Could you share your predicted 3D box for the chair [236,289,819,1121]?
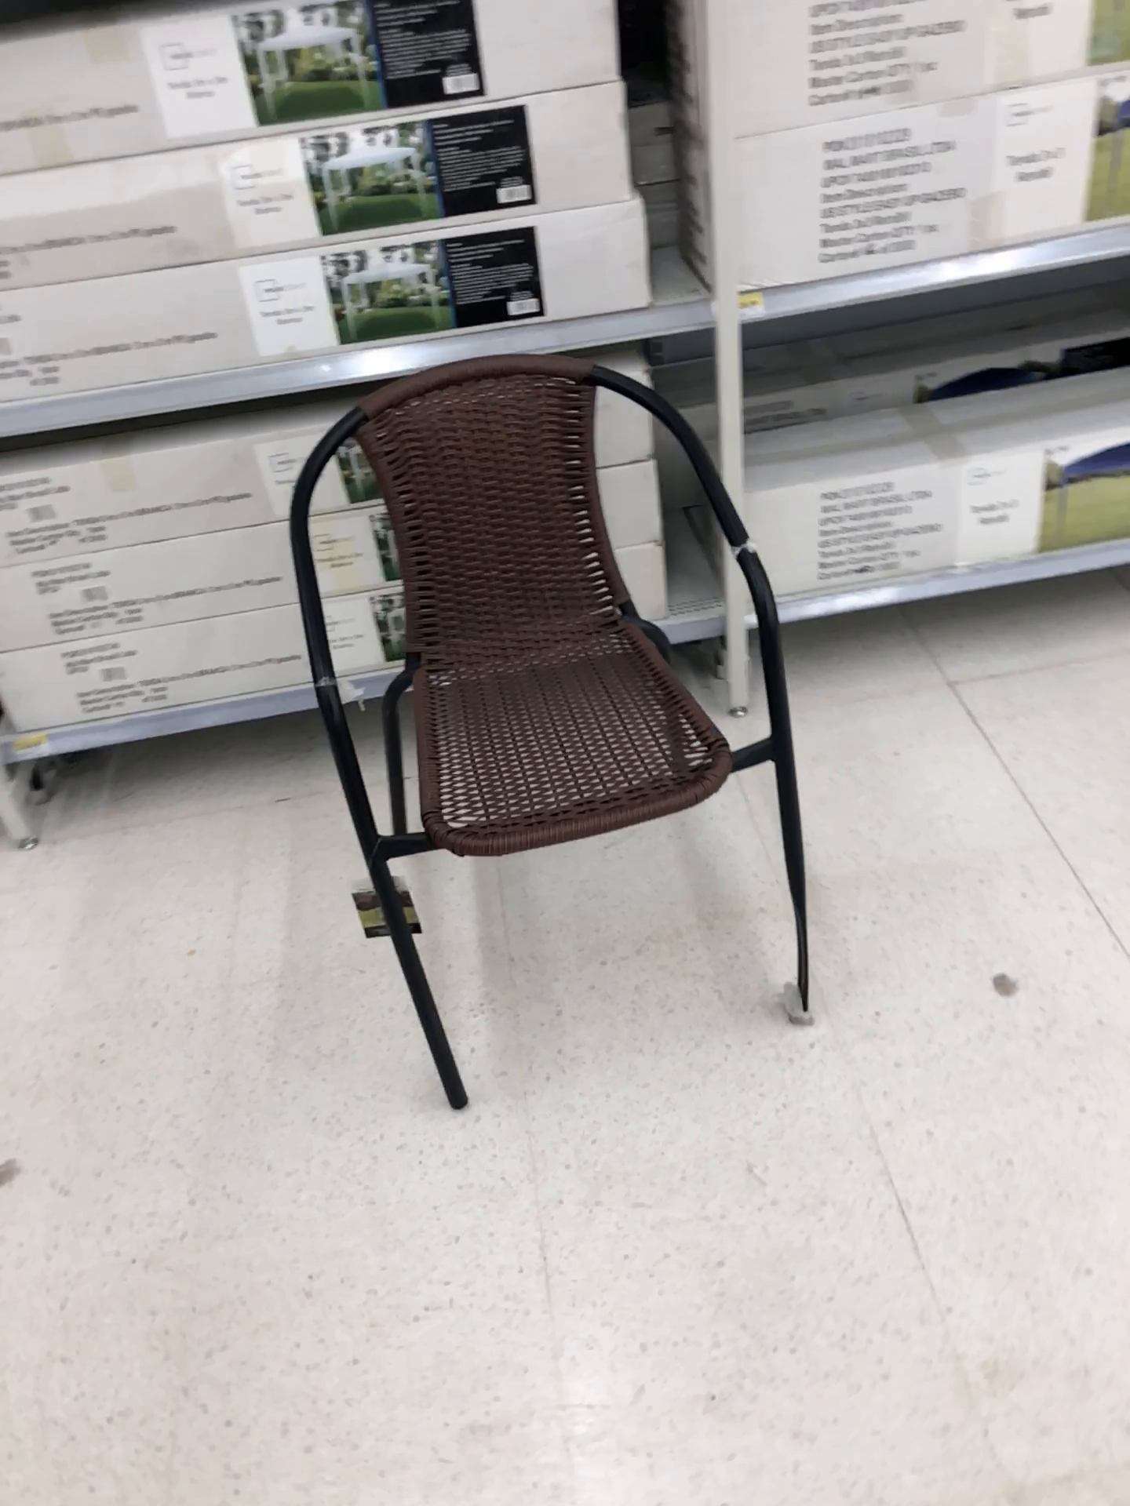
[{"bbox_3d":[-0.034,-0.065,1.468,0.480,0.715,0.534,-15,38,-8],"label":"chair"}]
